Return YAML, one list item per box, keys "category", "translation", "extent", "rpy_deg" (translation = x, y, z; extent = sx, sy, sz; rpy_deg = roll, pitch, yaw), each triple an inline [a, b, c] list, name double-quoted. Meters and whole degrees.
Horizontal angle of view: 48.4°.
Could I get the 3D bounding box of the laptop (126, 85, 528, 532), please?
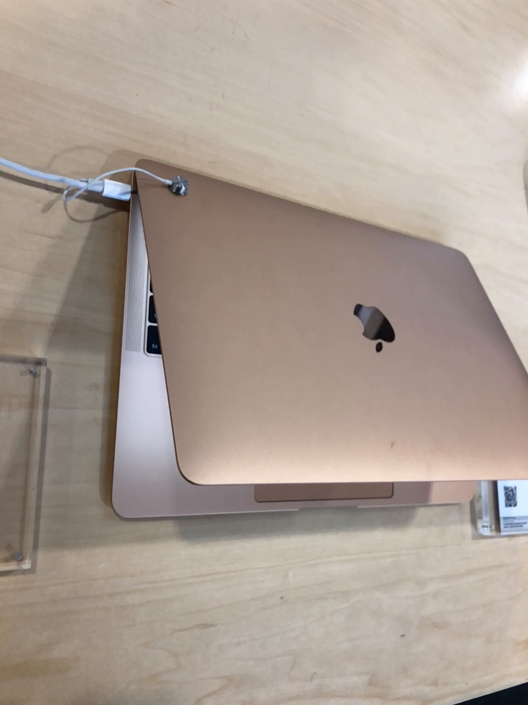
- category: "laptop"
  translation: [0.076, -0.007, 0.370]
  extent: [0.289, 0.093, 0.202]
  rpy_deg: [7, 77, -31]
